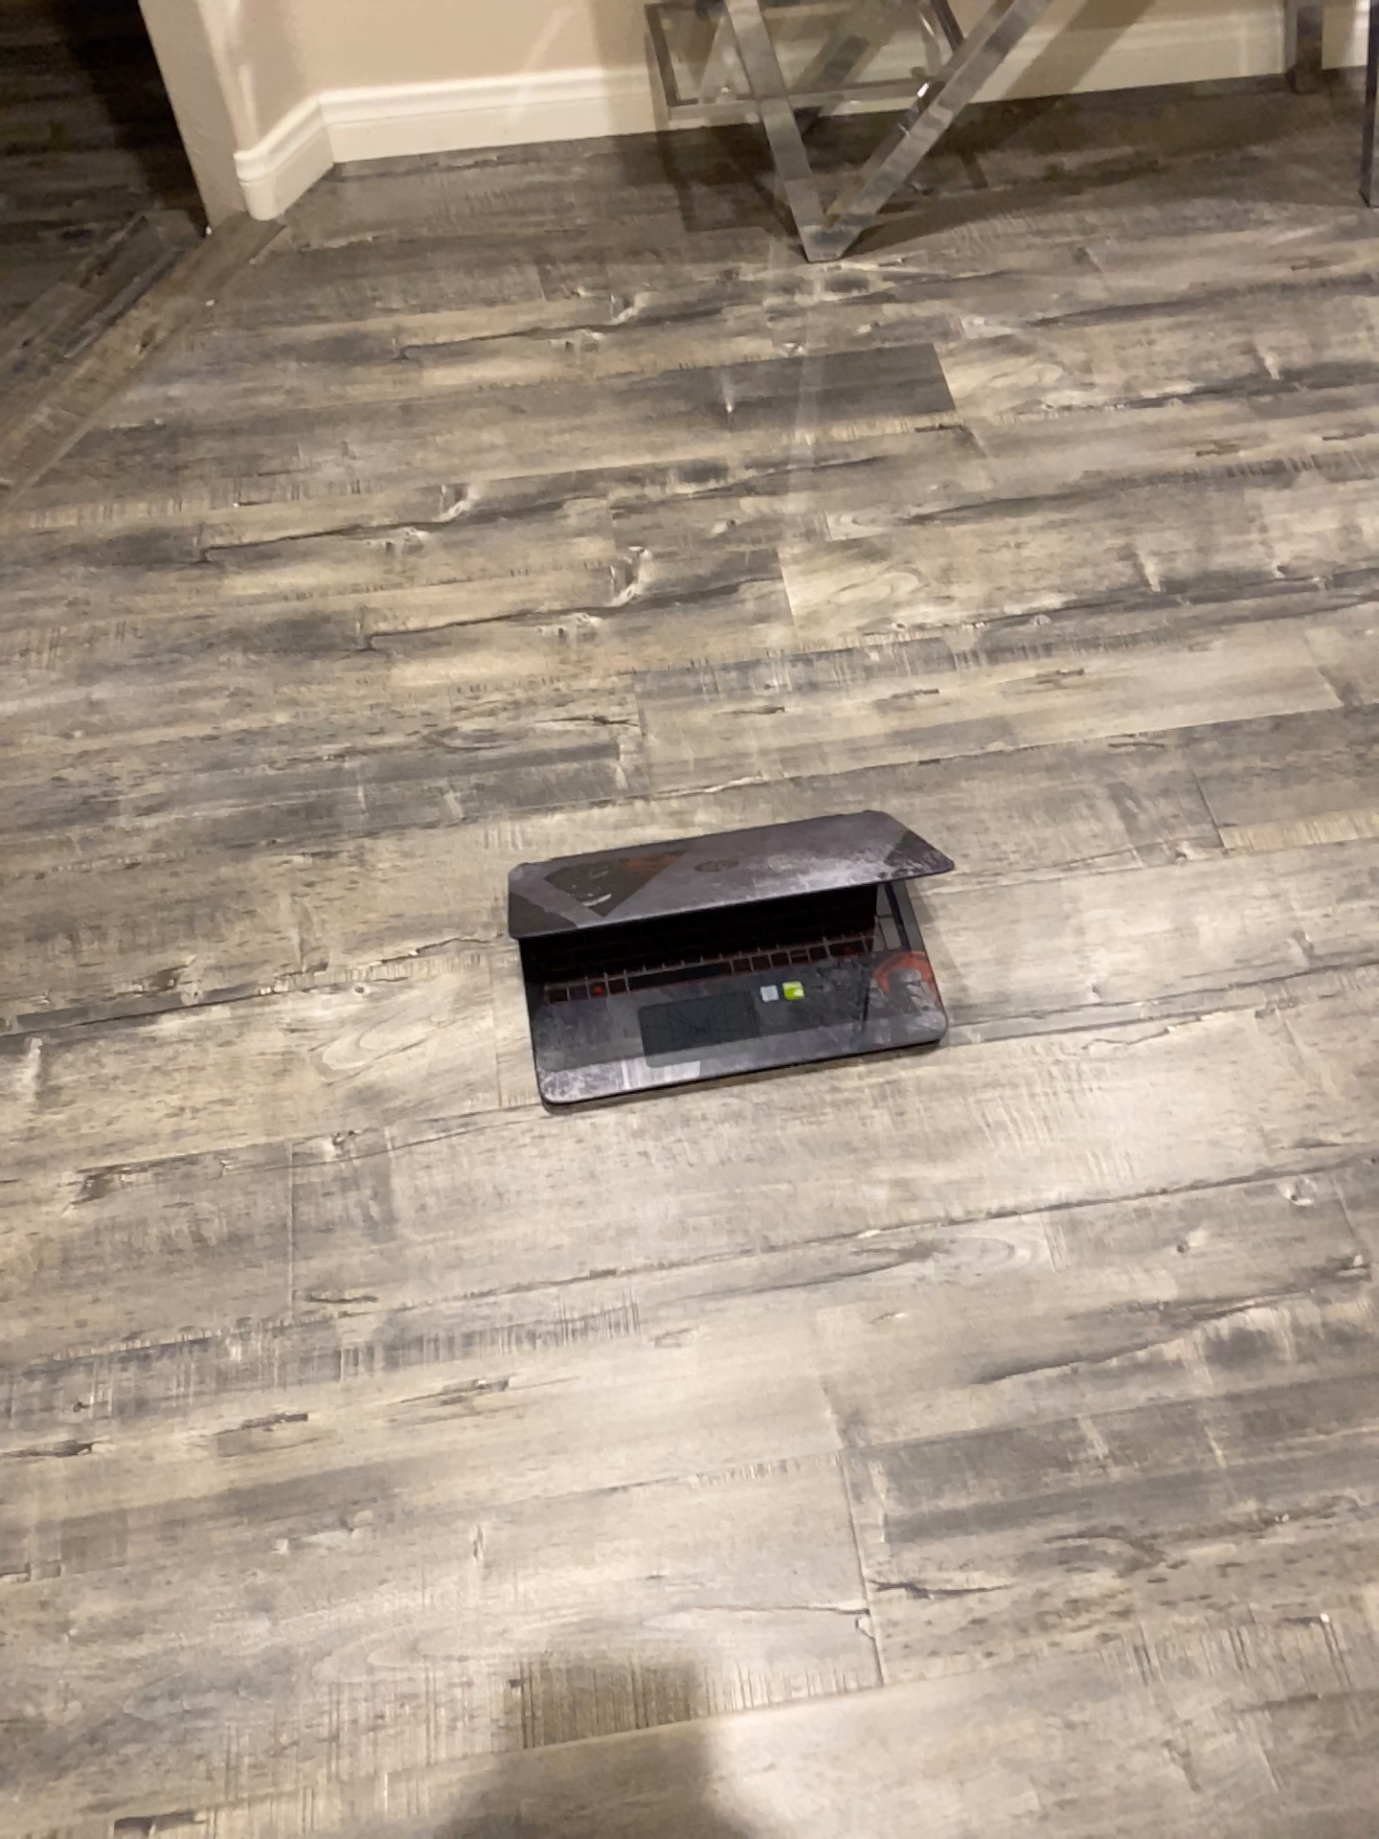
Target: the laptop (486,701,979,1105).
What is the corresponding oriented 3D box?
[{"bbox_3d":[0.029,-0.016,1.255,0.374,0.177,0.251,-9,58,-5],"label":"laptop"}]
